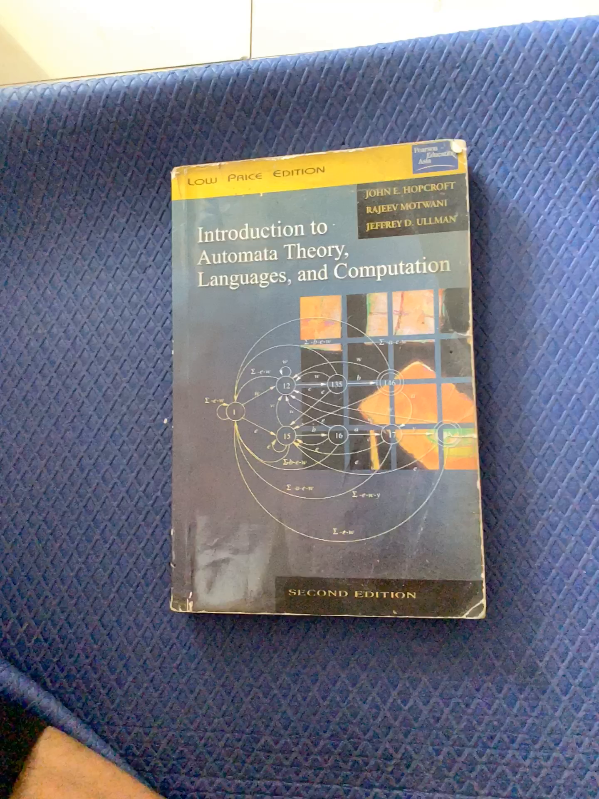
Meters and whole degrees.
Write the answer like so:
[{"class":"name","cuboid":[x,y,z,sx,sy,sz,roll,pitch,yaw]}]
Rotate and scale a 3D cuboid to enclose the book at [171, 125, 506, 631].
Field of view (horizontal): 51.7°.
[{"class":"book","cuboid":[0.016,-0.009,0.316,0.150,0.050,0.230,-3,83,10]}]
